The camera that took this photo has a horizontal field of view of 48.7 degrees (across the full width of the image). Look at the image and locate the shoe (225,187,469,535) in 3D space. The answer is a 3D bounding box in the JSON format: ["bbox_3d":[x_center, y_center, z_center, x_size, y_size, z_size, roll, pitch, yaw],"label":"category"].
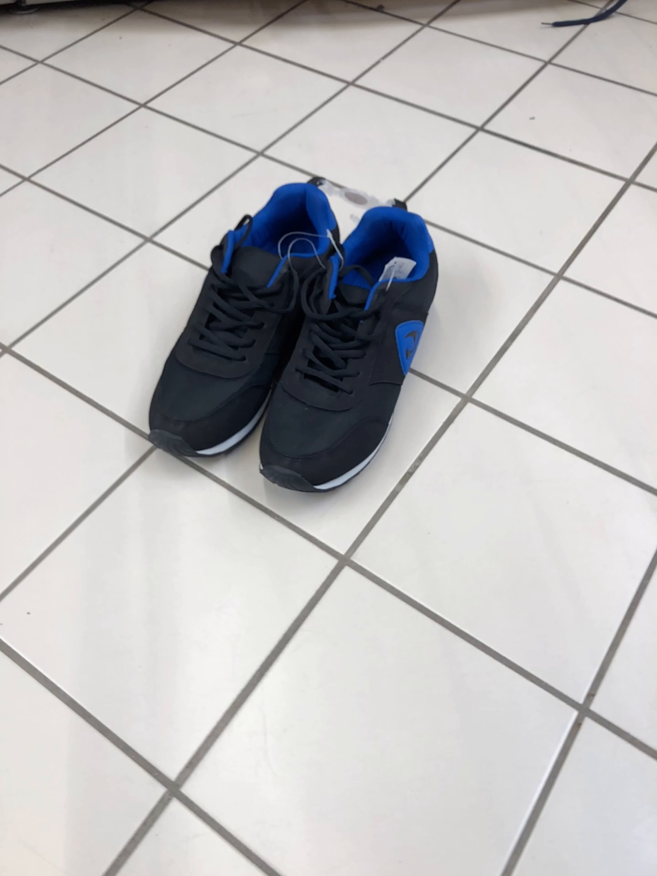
[{"bbox_3d":[0.027,-0.079,0.630,0.100,0.109,0.291,17,56,13],"label":"shoe"}]

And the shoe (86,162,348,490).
[{"bbox_3d":[-0.081,-0.112,0.658,0.100,0.109,0.291,17,56,13],"label":"shoe"}]
